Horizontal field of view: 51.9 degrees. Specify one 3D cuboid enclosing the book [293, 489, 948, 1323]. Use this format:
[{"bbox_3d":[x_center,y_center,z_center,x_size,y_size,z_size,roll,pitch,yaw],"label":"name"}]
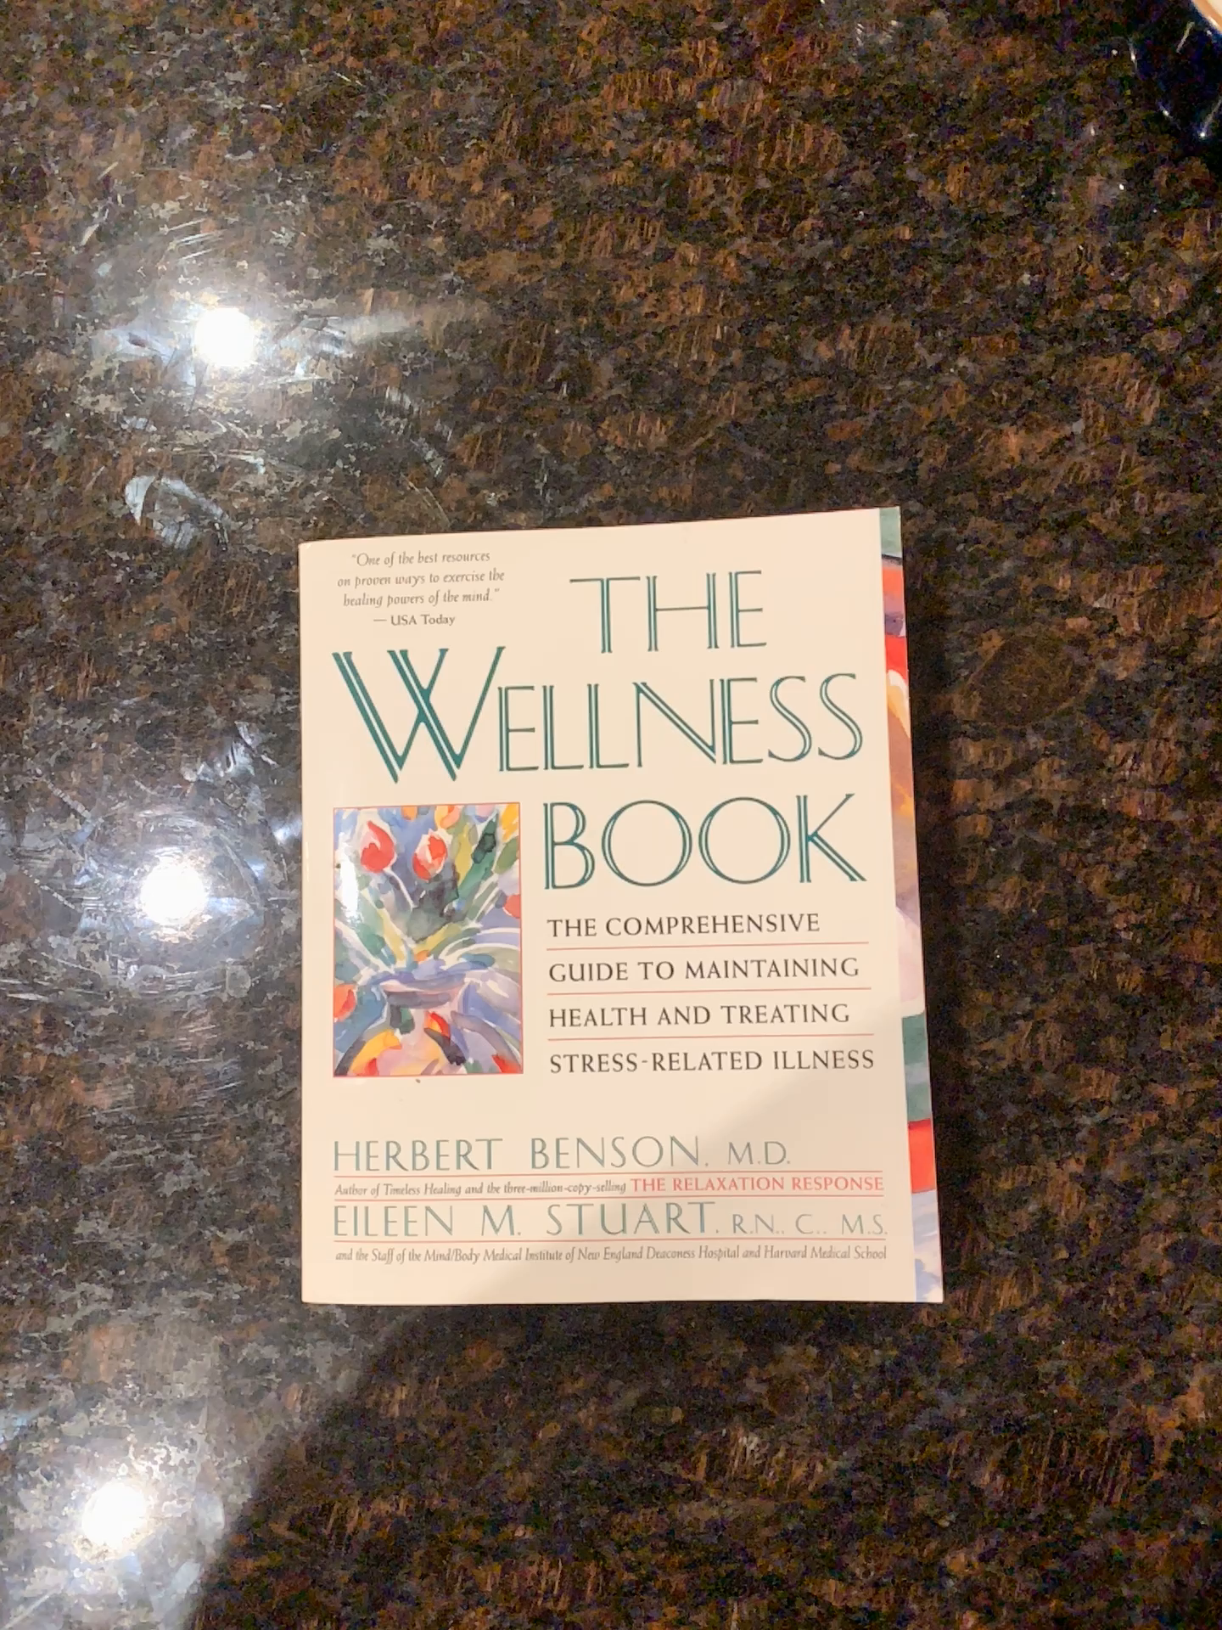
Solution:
[{"bbox_3d":[0.000,0.028,0.400,0.187,0.060,0.240,-2,84,4],"label":"book"}]
